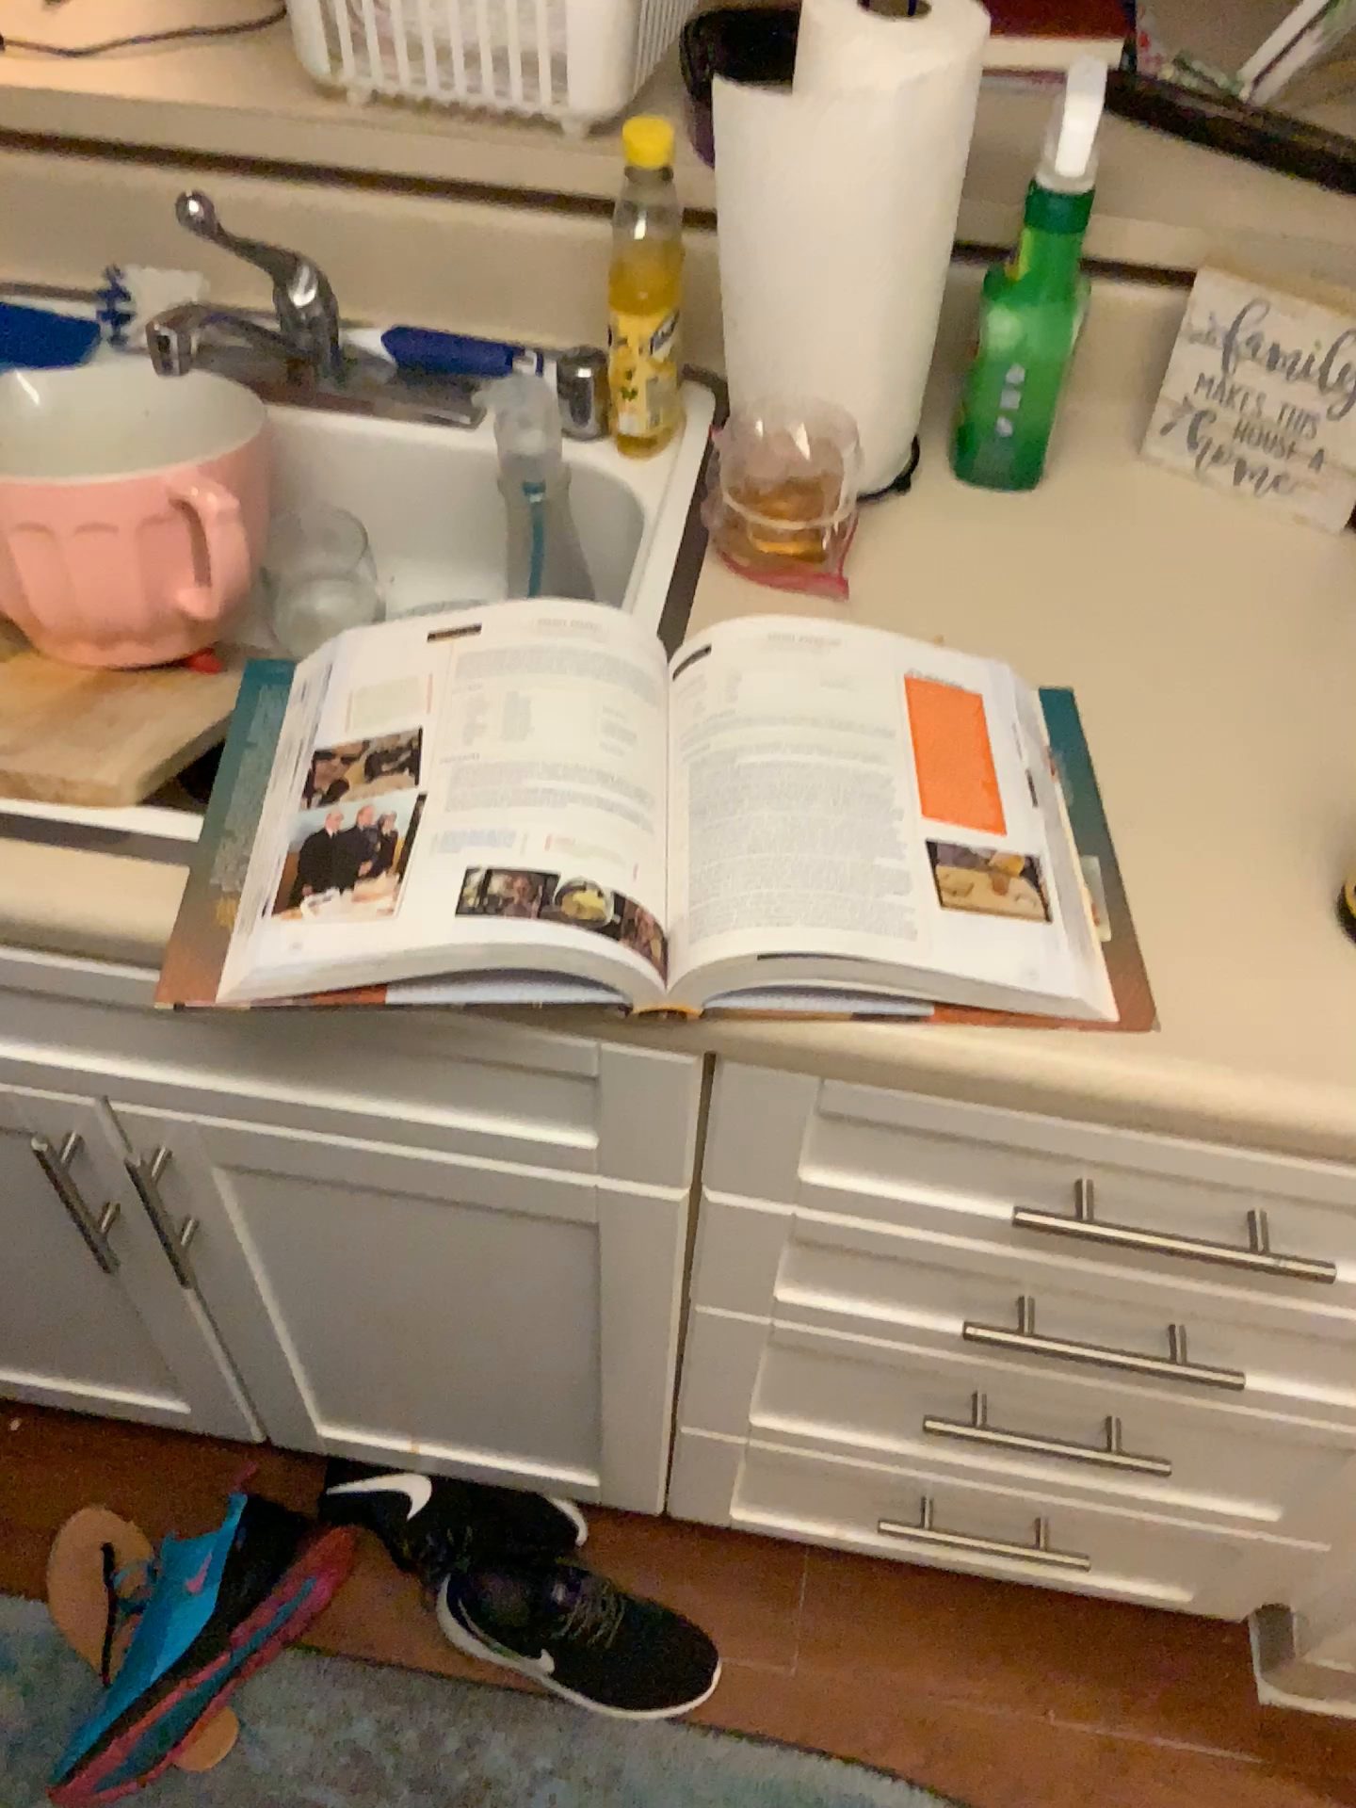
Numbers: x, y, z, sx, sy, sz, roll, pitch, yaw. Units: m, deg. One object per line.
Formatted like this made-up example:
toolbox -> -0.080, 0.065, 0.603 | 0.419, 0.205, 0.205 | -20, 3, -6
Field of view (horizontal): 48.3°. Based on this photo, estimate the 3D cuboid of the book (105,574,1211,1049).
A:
book -> -0.008, -0.063, 0.841 | 0.530, 0.040, 0.310 | 1, 49, -2
